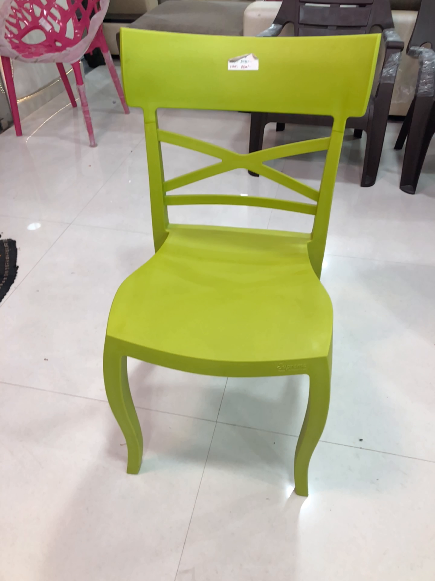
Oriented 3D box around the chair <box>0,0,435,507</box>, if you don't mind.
[{"bbox_3d":[0.030,-0.083,0.990,0.500,0.804,0.615,6,40,7],"label":"chair"}]
